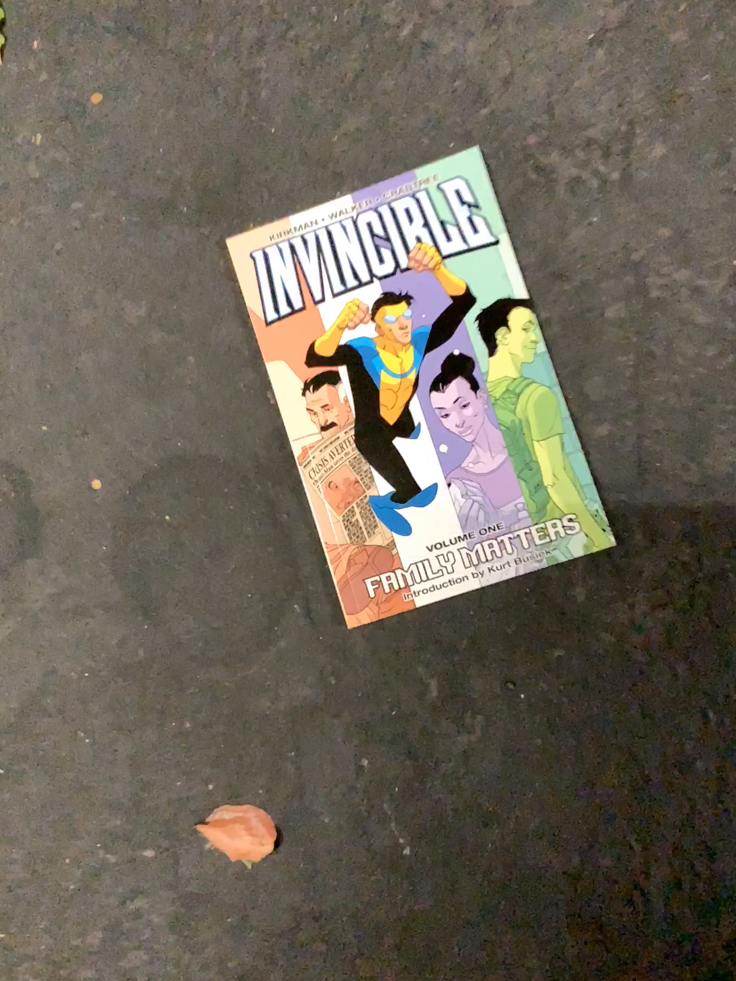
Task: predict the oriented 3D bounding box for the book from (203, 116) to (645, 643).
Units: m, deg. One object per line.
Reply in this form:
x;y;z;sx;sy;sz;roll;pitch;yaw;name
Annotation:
0.027;-0.068;0.489;0.180;0.020;0.270;-20;82;4;book
